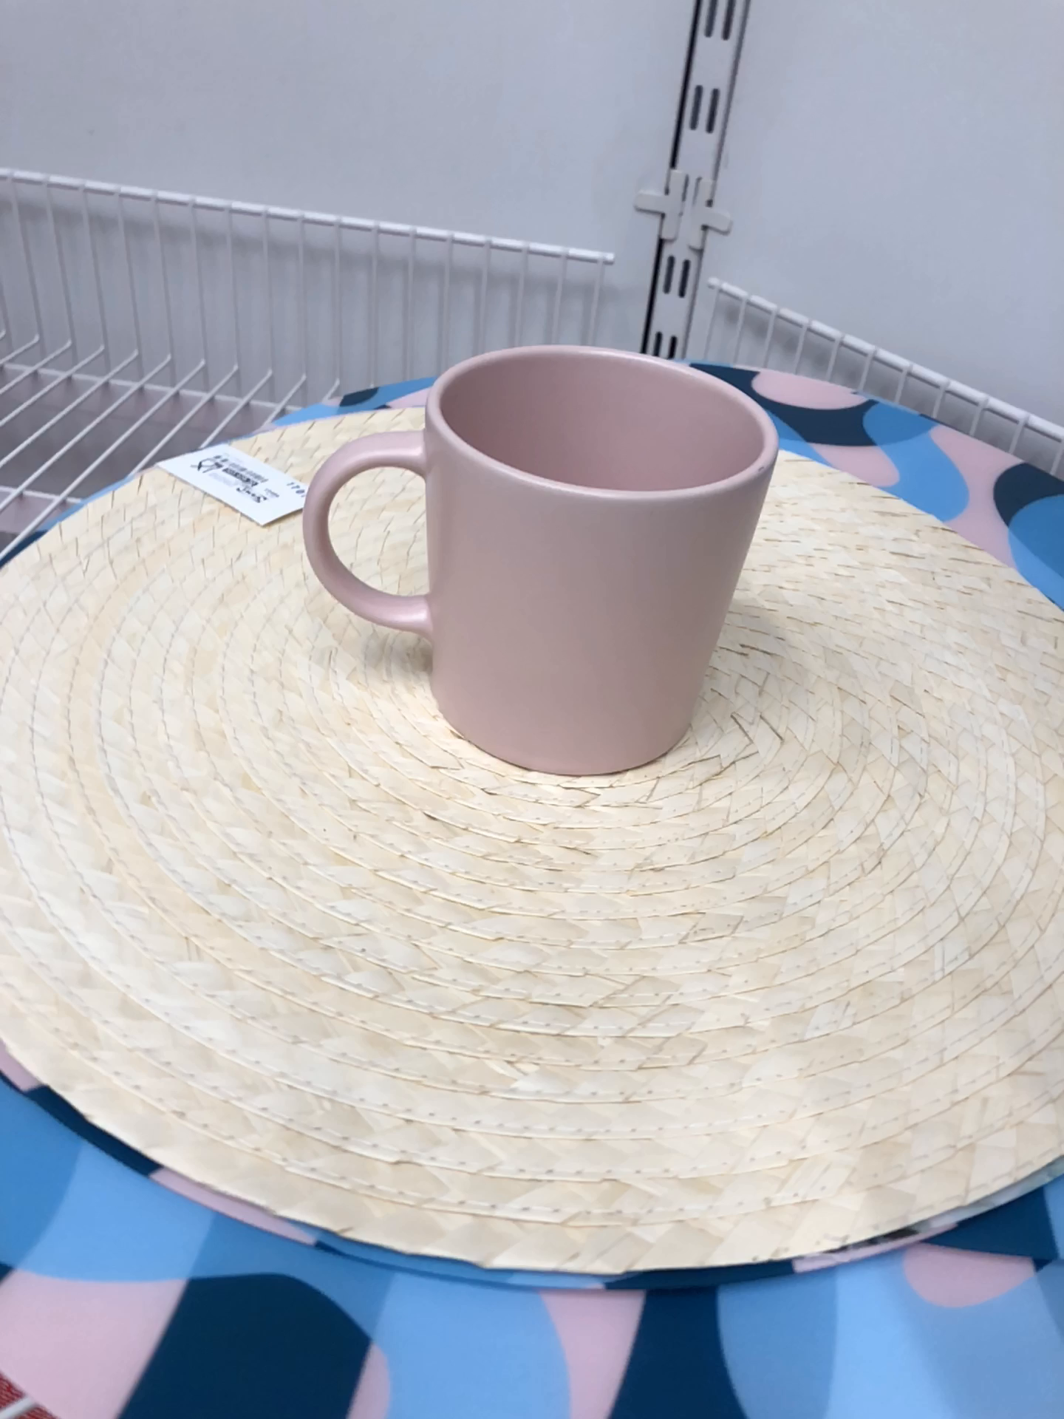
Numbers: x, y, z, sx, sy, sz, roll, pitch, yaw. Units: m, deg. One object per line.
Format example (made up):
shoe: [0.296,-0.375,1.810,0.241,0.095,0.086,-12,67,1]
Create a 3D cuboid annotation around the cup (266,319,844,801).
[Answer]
cup: [-0.004,-0.043,0.326,0.130,0.090,0.100,-1,36,-11]
